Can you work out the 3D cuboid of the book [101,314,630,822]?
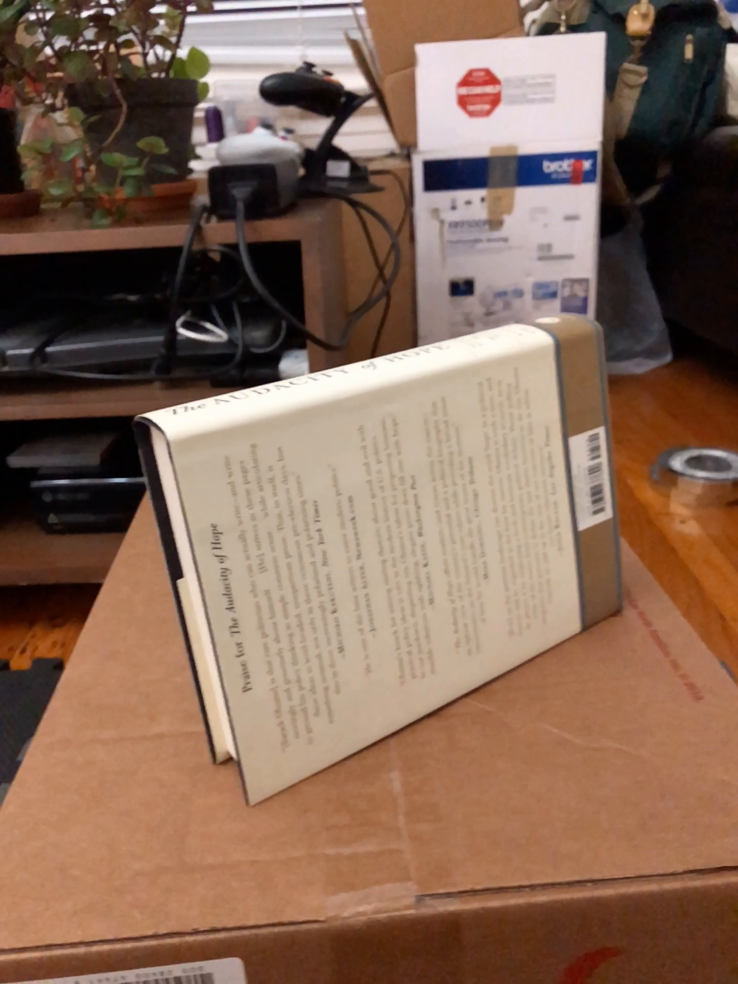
[{"bbox_3d":[0.018,0.017,0.405,0.251,0.169,0.060,-18,16,-32],"label":"book"}]
